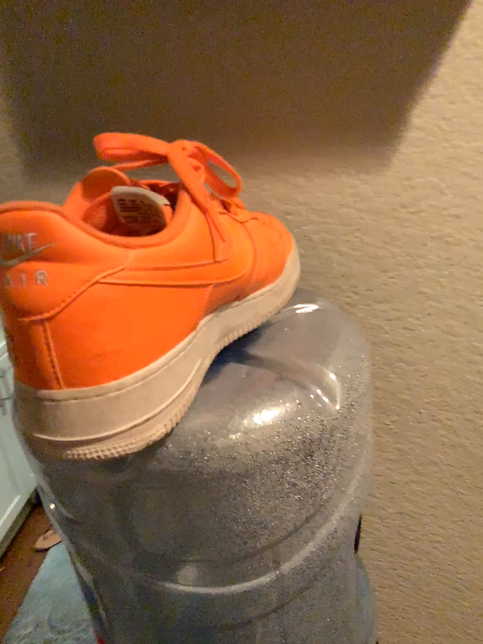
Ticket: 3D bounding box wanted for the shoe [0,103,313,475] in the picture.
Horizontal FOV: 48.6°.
[{"bbox_3d":[-0.041,-0.058,0.355,0.120,0.140,0.300,1,24,18],"label":"shoe"}]
